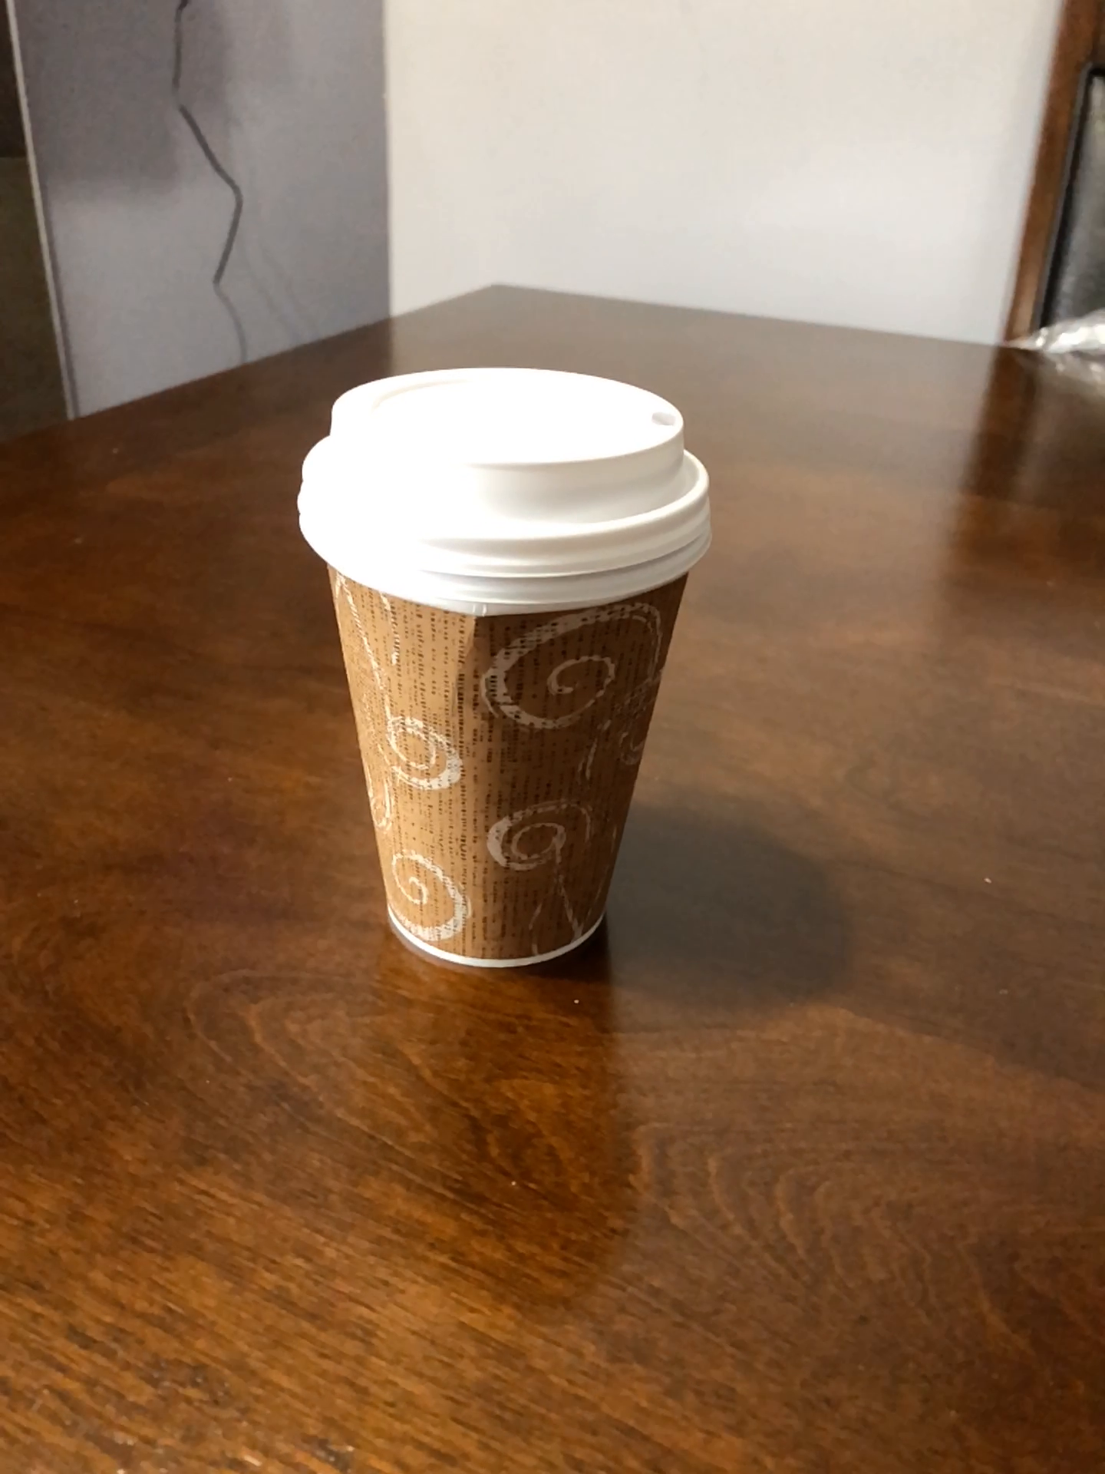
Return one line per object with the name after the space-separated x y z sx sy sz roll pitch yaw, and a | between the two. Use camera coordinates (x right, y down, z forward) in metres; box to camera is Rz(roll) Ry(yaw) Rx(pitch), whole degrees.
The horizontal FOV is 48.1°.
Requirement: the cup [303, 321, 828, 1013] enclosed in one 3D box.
-0.005 -0.018 0.231 0.070 0.100 0.080 -5 30 -14 | cup
